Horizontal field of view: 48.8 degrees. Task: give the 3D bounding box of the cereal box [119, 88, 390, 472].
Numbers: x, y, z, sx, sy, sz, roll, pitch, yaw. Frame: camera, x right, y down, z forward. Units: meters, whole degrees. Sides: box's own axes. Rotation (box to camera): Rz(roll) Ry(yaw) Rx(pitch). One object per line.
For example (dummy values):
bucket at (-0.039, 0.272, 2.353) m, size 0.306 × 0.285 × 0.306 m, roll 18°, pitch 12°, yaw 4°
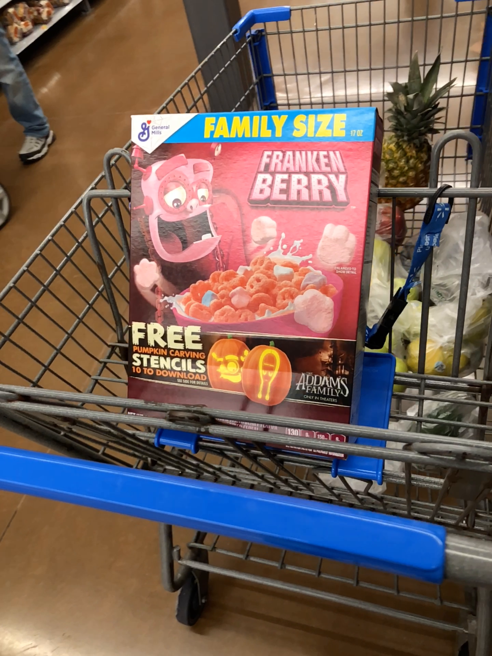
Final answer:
cereal box at (-0.001, -0.048, 0.526) m, size 0.240 × 0.320 × 0.070 m, roll 6°, pitch 10°, yaw 21°
